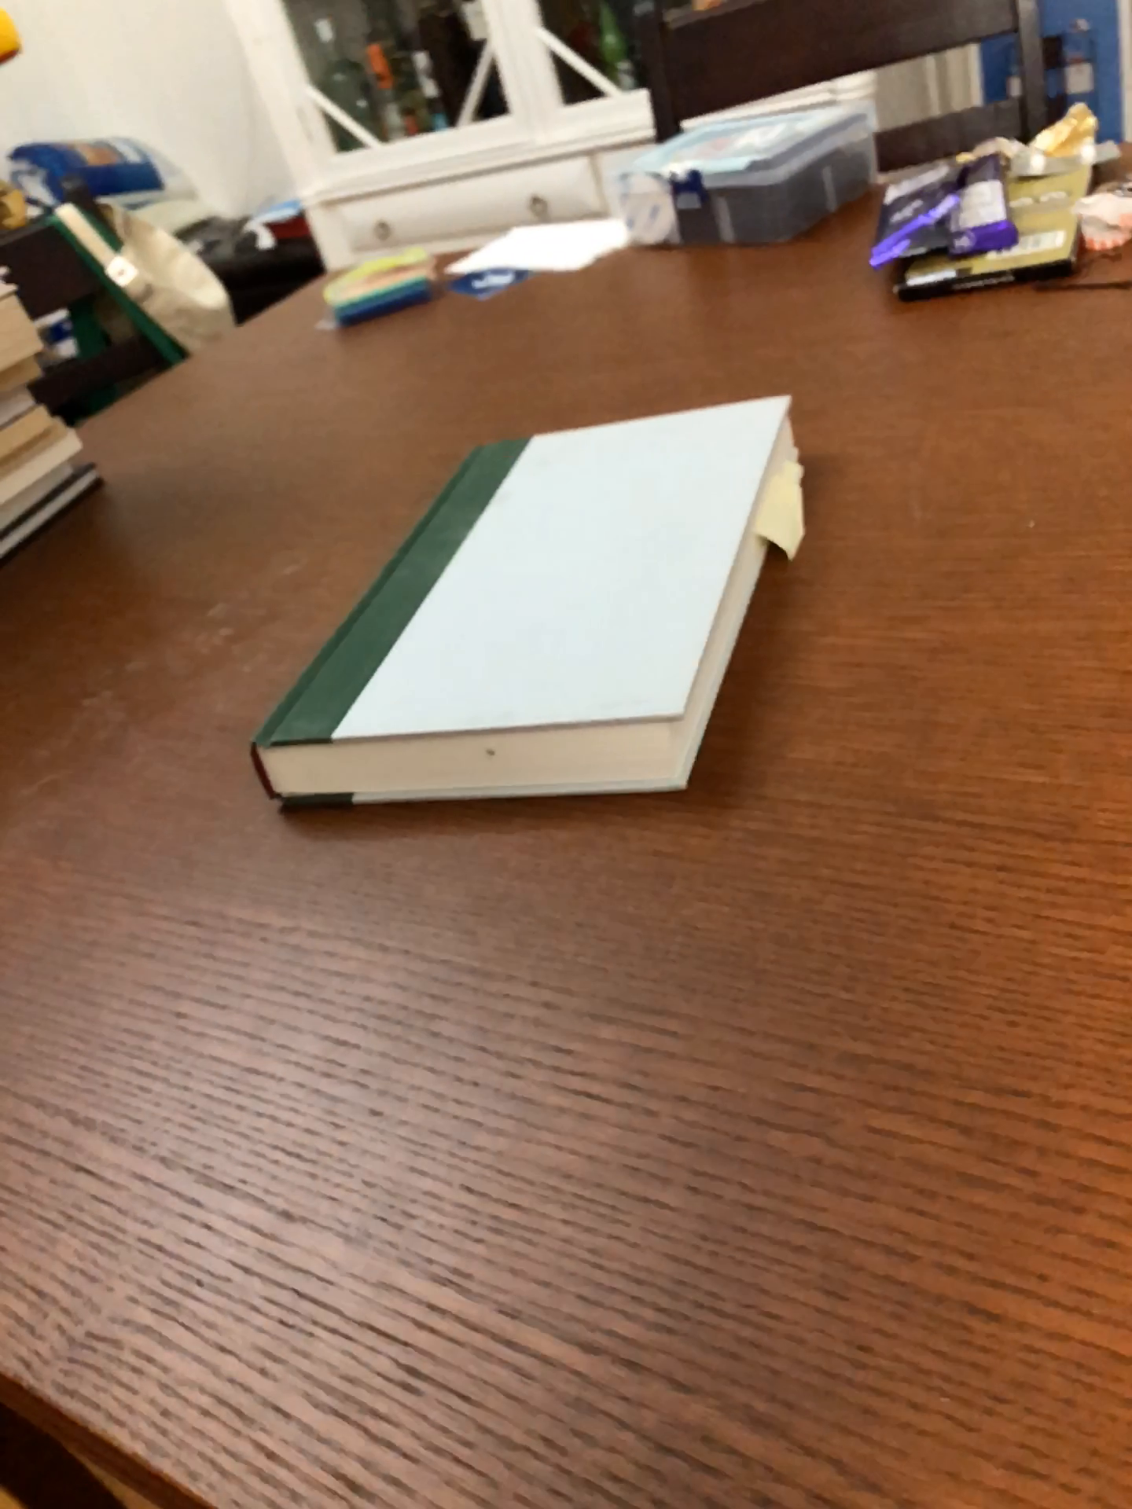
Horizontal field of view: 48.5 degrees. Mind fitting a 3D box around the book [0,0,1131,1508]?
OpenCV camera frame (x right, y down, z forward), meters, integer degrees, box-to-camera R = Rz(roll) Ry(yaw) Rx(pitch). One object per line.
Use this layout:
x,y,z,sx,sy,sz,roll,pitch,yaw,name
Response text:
-0.138,-0.198,0.071,1.000,0.995,1.005,-15,33,8,book
